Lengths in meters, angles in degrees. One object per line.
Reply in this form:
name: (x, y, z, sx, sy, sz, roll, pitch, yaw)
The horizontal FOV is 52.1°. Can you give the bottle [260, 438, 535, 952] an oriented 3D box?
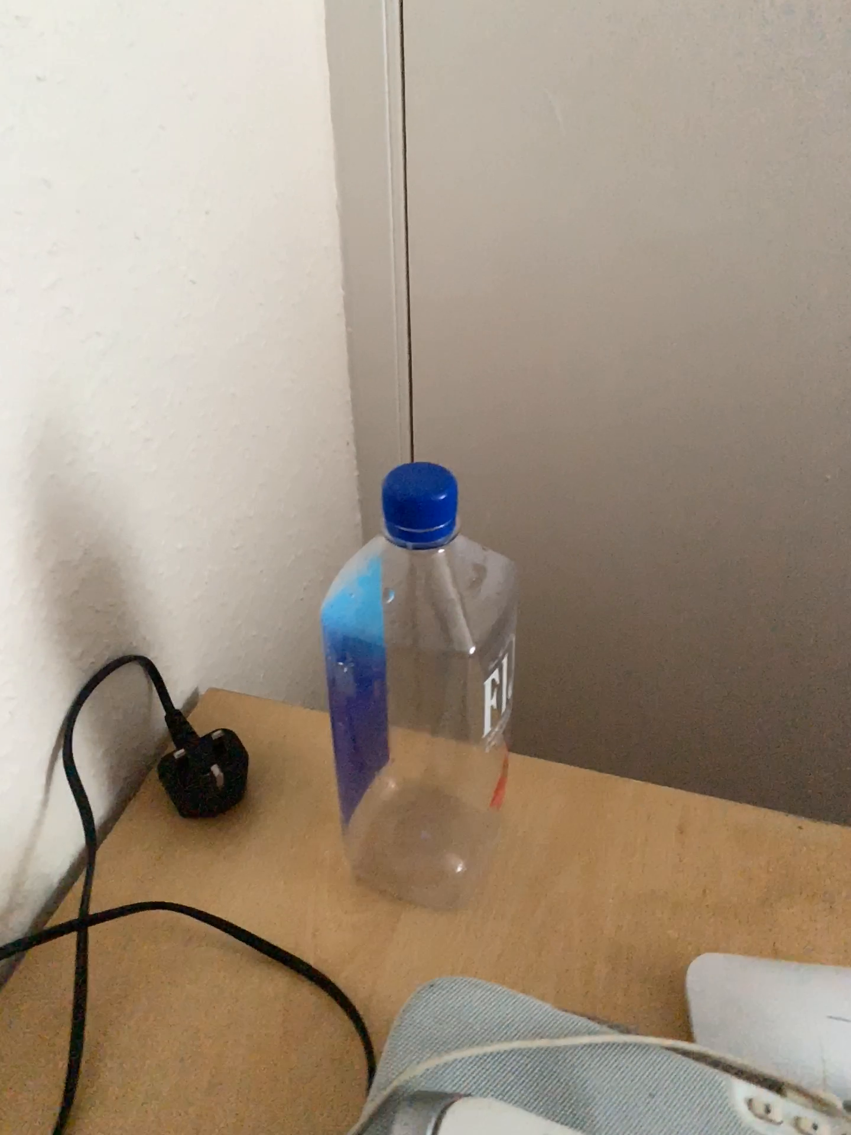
bottle: (-0.005, 0.061, 0.392, 0.080, 0.208, 0.091, 9, 36, 15)
